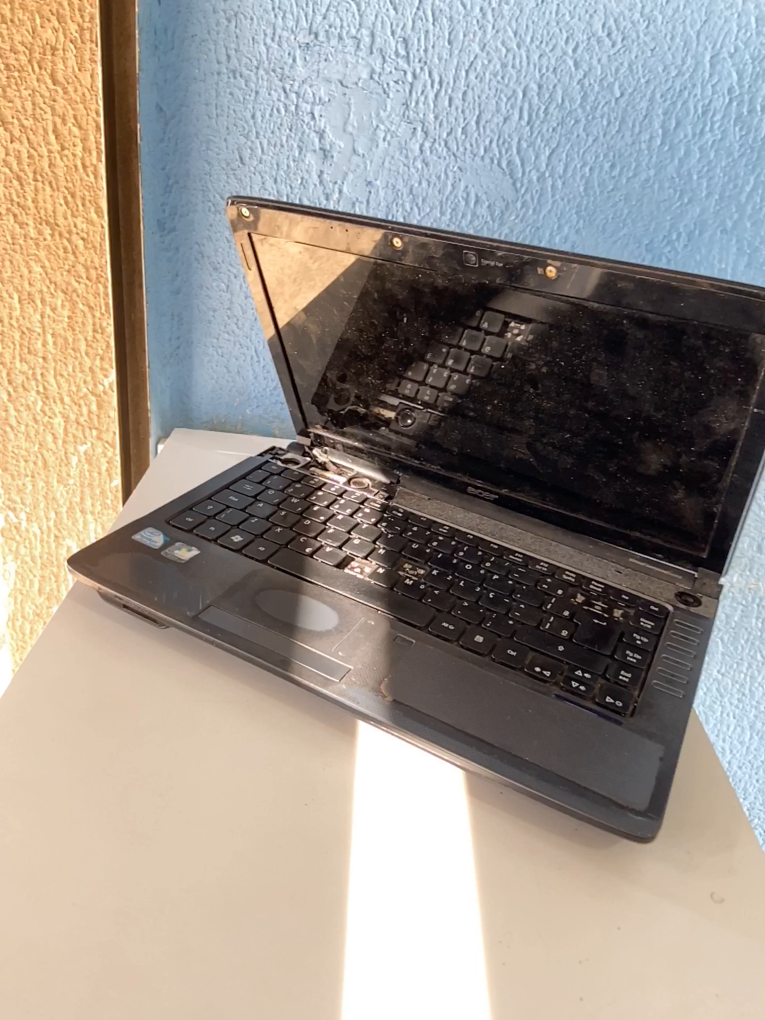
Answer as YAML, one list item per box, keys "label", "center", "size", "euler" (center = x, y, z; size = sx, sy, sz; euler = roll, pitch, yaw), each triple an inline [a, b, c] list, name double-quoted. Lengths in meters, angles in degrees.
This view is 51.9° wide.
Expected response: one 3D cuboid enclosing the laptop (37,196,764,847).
- label: "laptop"
  center: [0.026, -0.042, 0.433]
  size: [0.334, 0.182, 0.229]
  euler: [19, 31, 23]
